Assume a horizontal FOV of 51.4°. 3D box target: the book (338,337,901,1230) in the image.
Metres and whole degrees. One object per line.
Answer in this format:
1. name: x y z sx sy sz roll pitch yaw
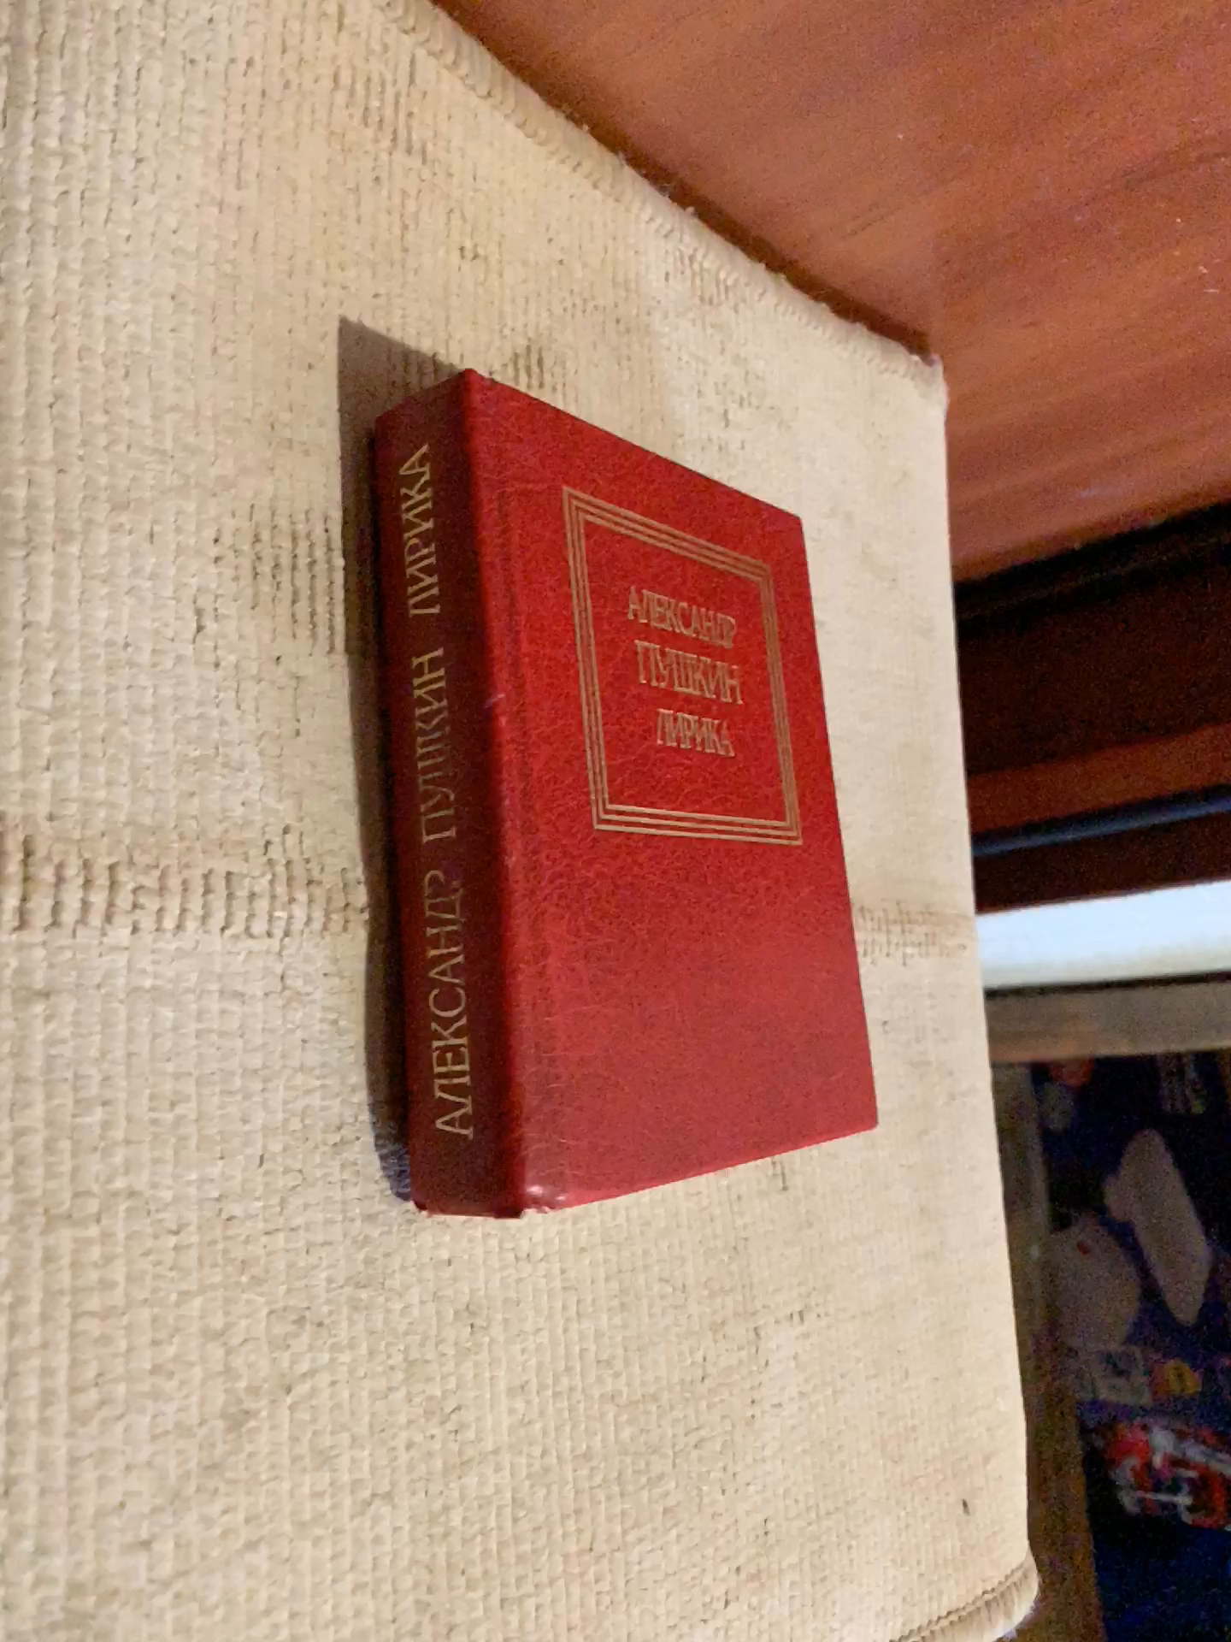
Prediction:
1. book: 0.006 -0.003 0.263 0.120 0.034 0.148 7 74 -49
